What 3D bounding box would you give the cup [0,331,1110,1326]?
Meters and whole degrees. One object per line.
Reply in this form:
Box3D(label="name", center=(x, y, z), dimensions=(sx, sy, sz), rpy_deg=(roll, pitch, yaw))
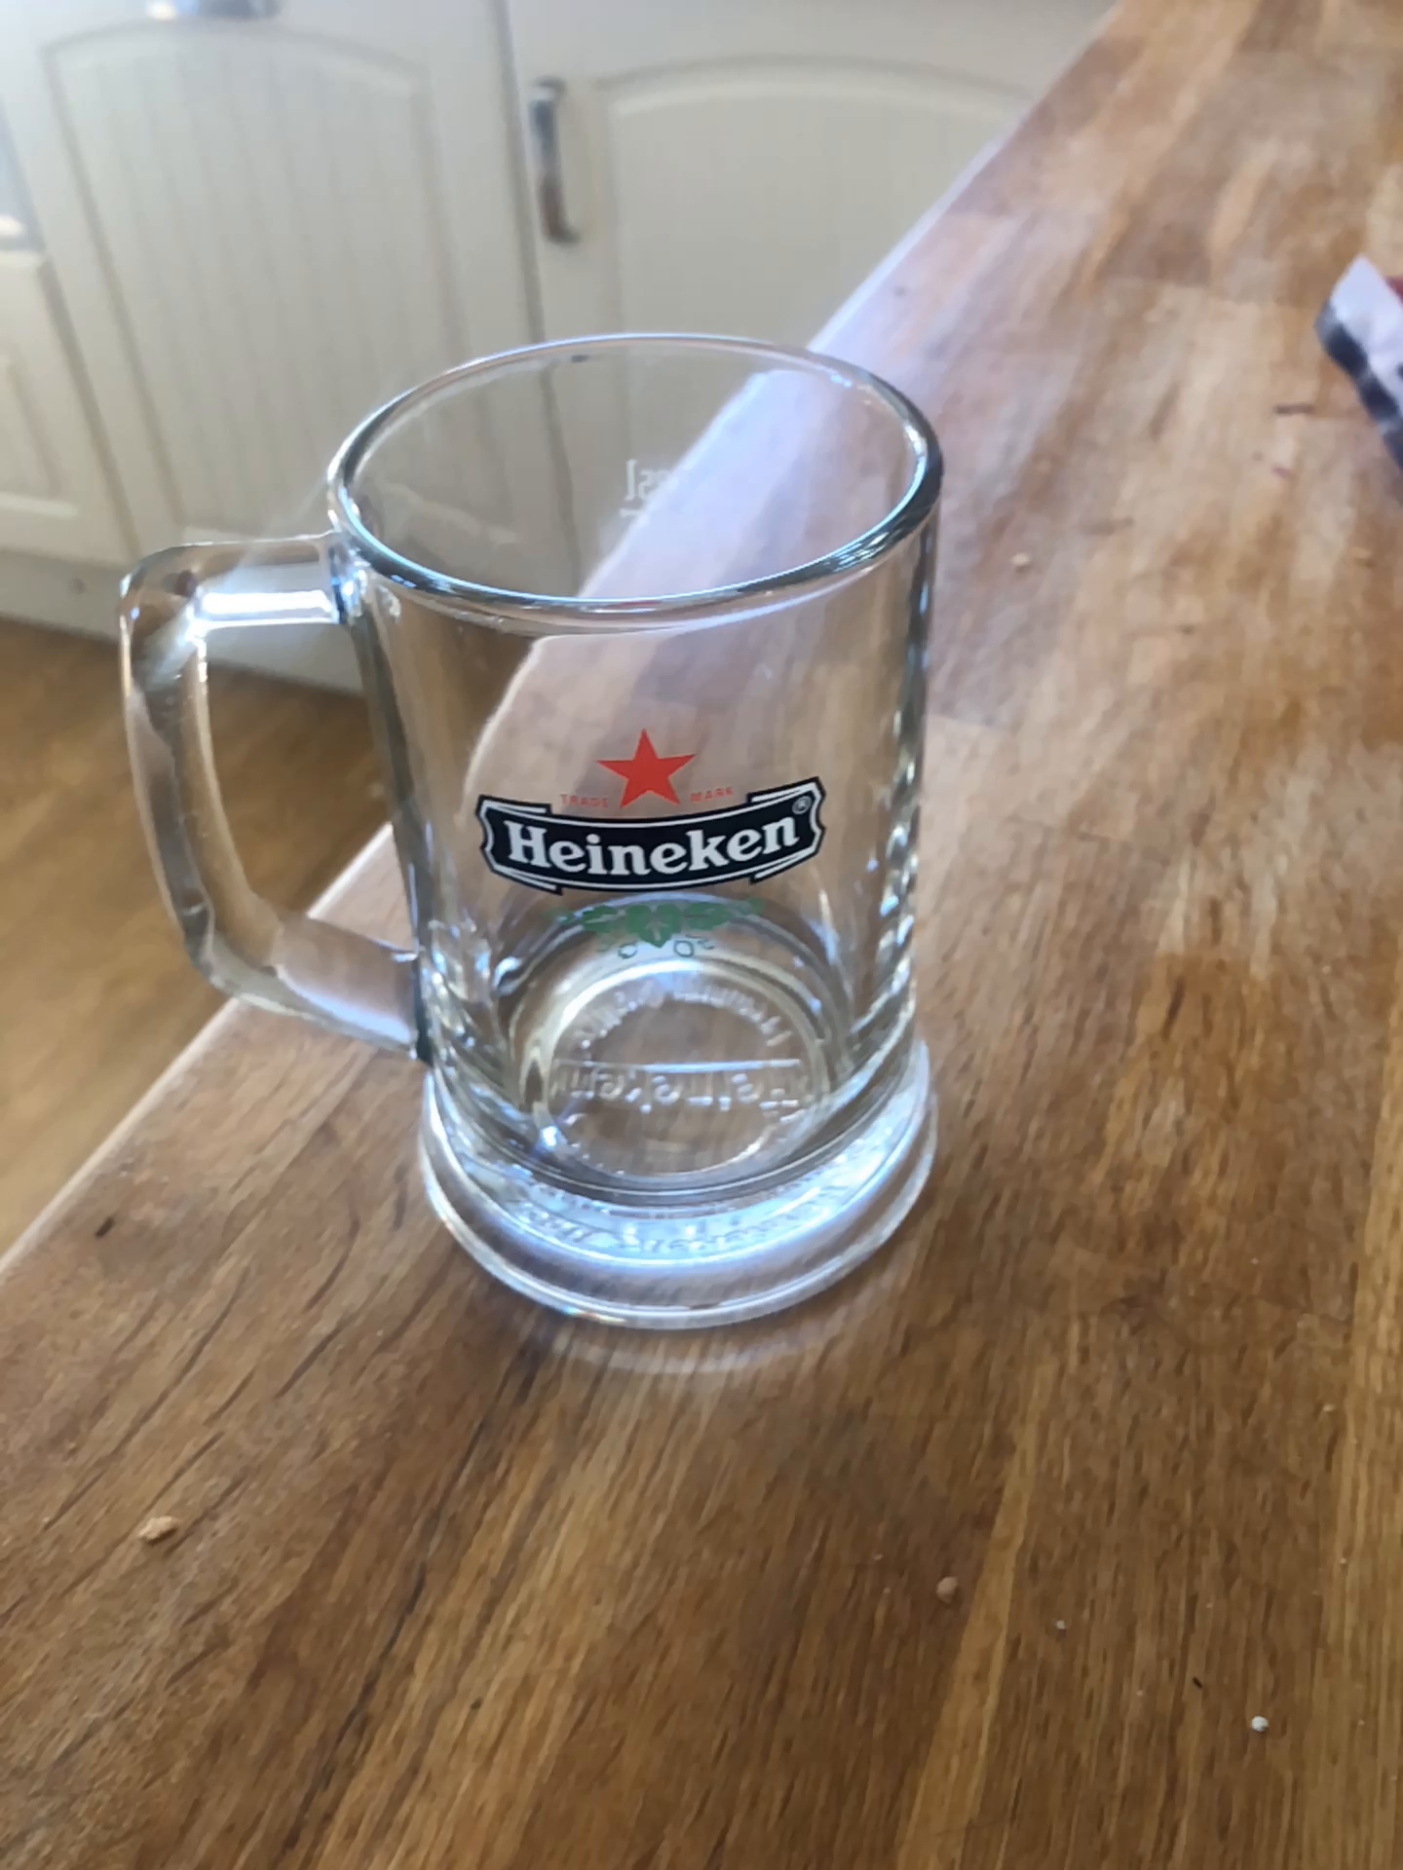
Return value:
Box3D(label="cup", center=(-0.016, -0.015, 0.227), dimensions=(0.114, 0.109, 0.092), rpy_deg=(0, 41, 1))
